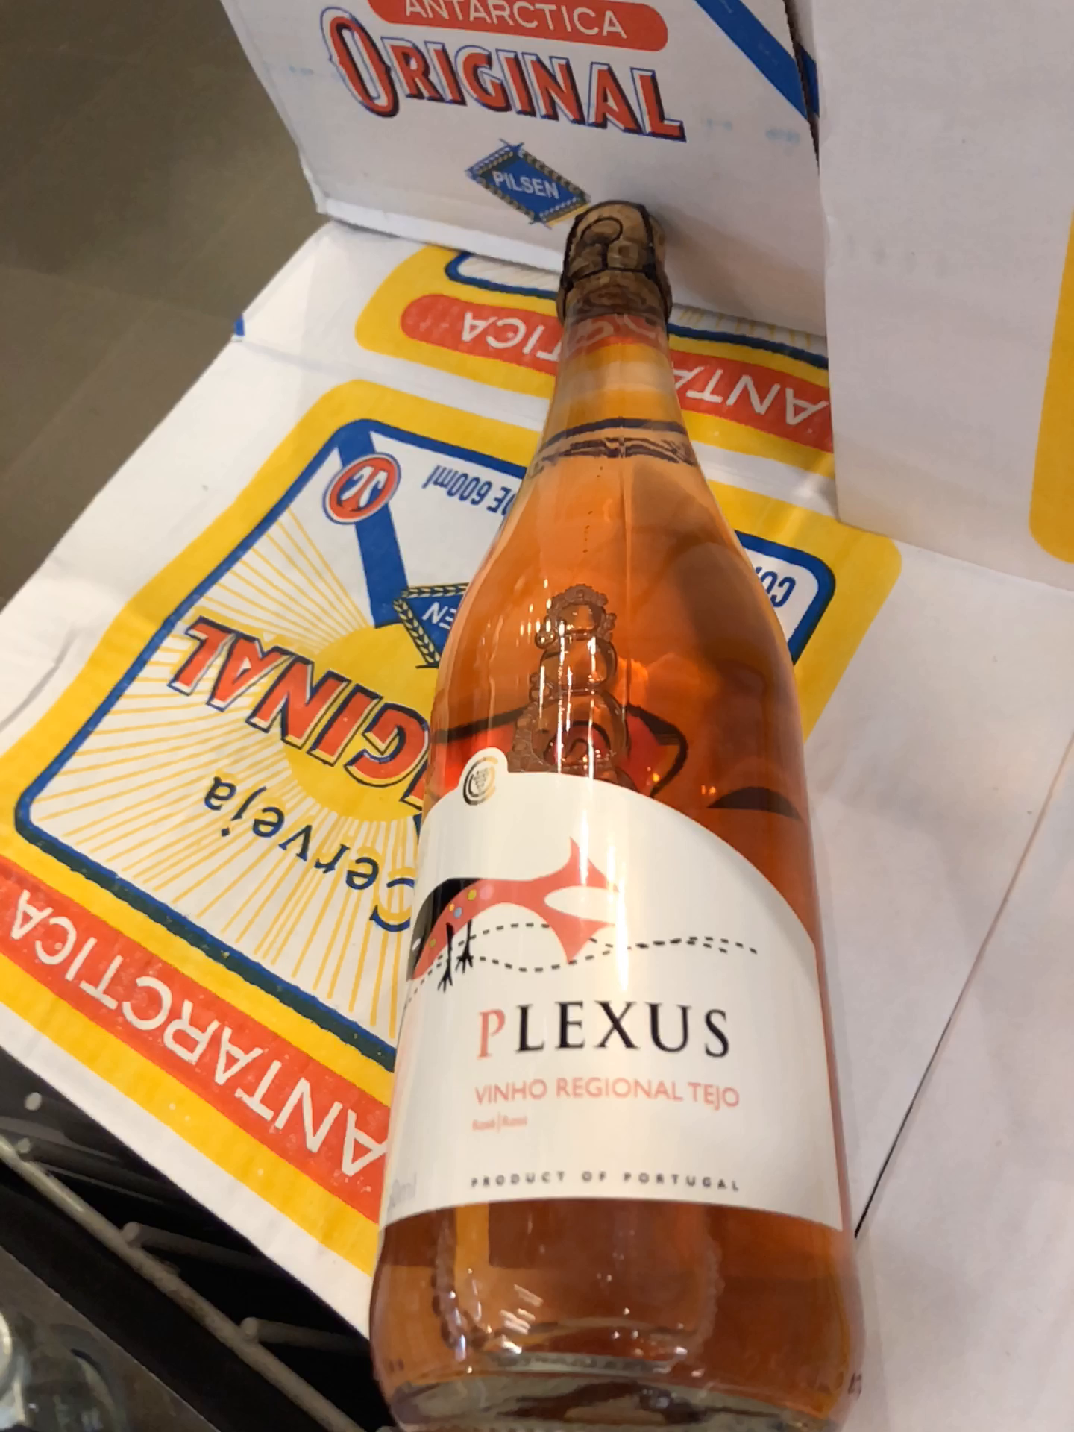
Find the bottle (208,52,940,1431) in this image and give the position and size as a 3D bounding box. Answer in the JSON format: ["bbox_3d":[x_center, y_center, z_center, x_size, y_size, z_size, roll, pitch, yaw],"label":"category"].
[{"bbox_3d":[0.015,-0.017,0.251,0.090,0.070,0.291,-6,56,13],"label":"bottle"}]
